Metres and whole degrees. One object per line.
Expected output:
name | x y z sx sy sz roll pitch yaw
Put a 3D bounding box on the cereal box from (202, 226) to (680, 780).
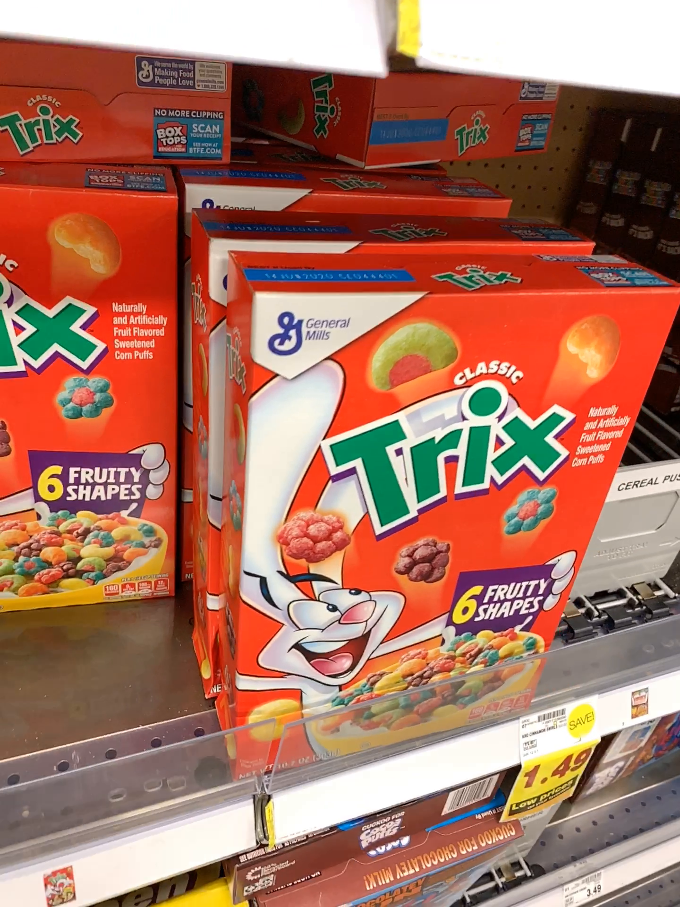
cereal box | 0.036 0.036 0.372 0.200 0.288 0.060 -6 36 -21
